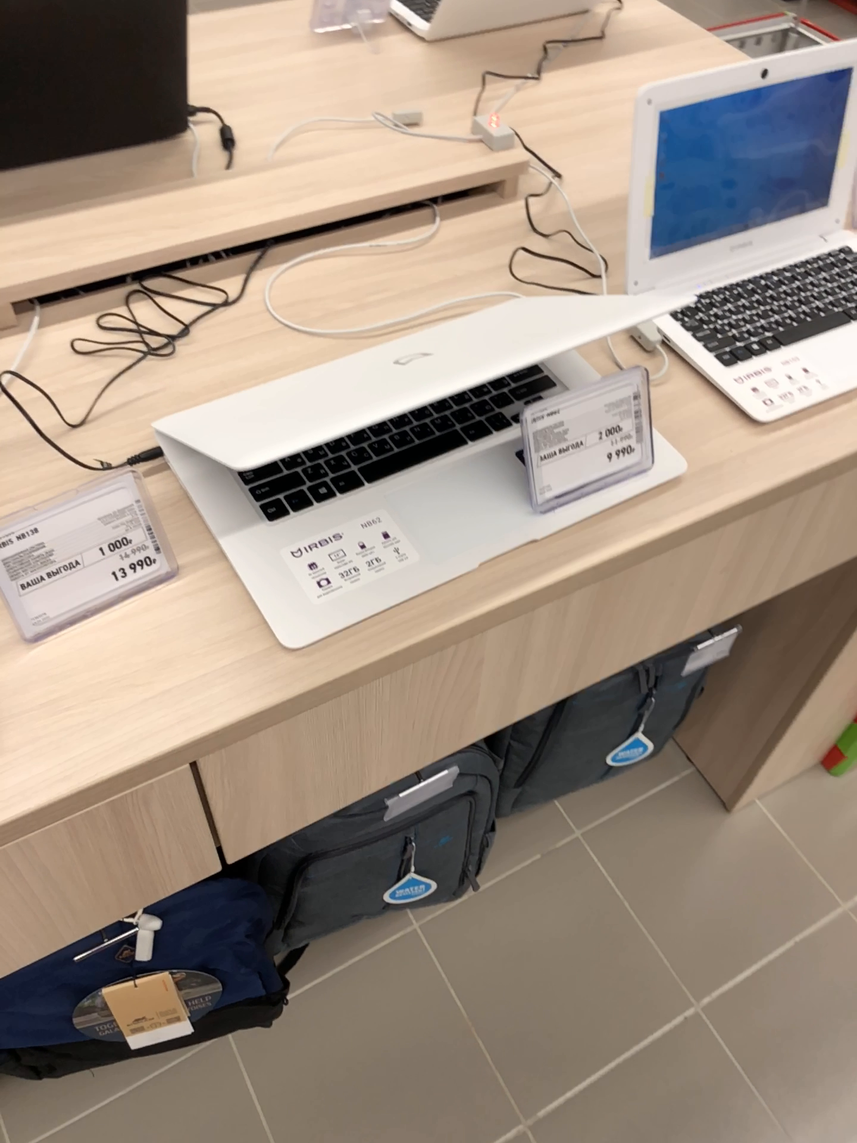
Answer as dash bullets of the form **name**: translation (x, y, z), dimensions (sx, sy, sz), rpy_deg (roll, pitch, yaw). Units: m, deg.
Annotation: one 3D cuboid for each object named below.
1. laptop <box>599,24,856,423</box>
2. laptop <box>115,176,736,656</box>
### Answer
- **laptop**: translation (0.331, -0.303, 0.801), dimensions (0.263, 0.168, 0.231), rpy_deg (-21, 56, -18)
- **laptop**: translation (-0.002, -0.129, 0.671), dimensions (0.350, 0.115, 0.224), rpy_deg (-24, 58, -21)
